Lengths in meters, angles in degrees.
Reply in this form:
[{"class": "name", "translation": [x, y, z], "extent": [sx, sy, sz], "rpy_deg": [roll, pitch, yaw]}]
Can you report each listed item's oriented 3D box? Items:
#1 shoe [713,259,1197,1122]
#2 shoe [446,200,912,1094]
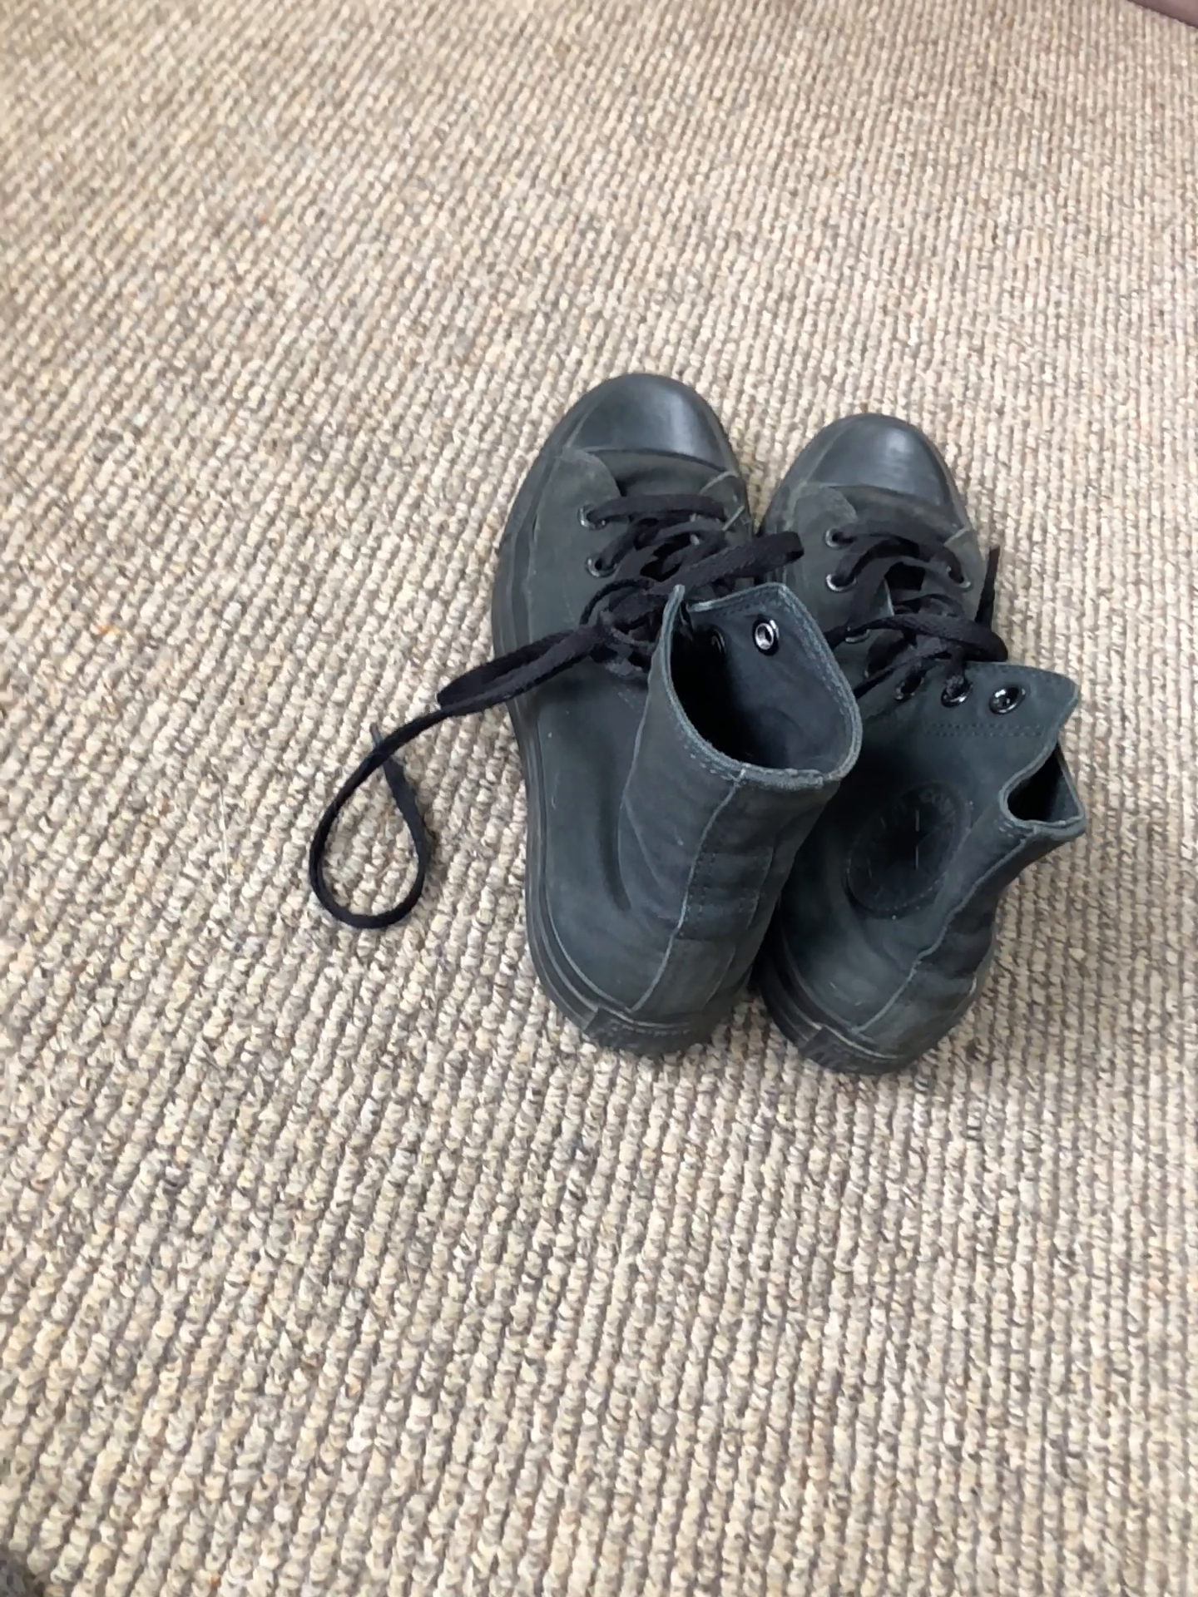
[{"class": "shoe", "translation": [0.103, -0.038, 0.437], "extent": [0.089, 0.126, 0.244], "rpy_deg": [11, 57, -10]}, {"class": "shoe", "translation": [0.016, -0.047, 0.410], "extent": [0.089, 0.126, 0.237], "rpy_deg": [9, 57, -12]}]
